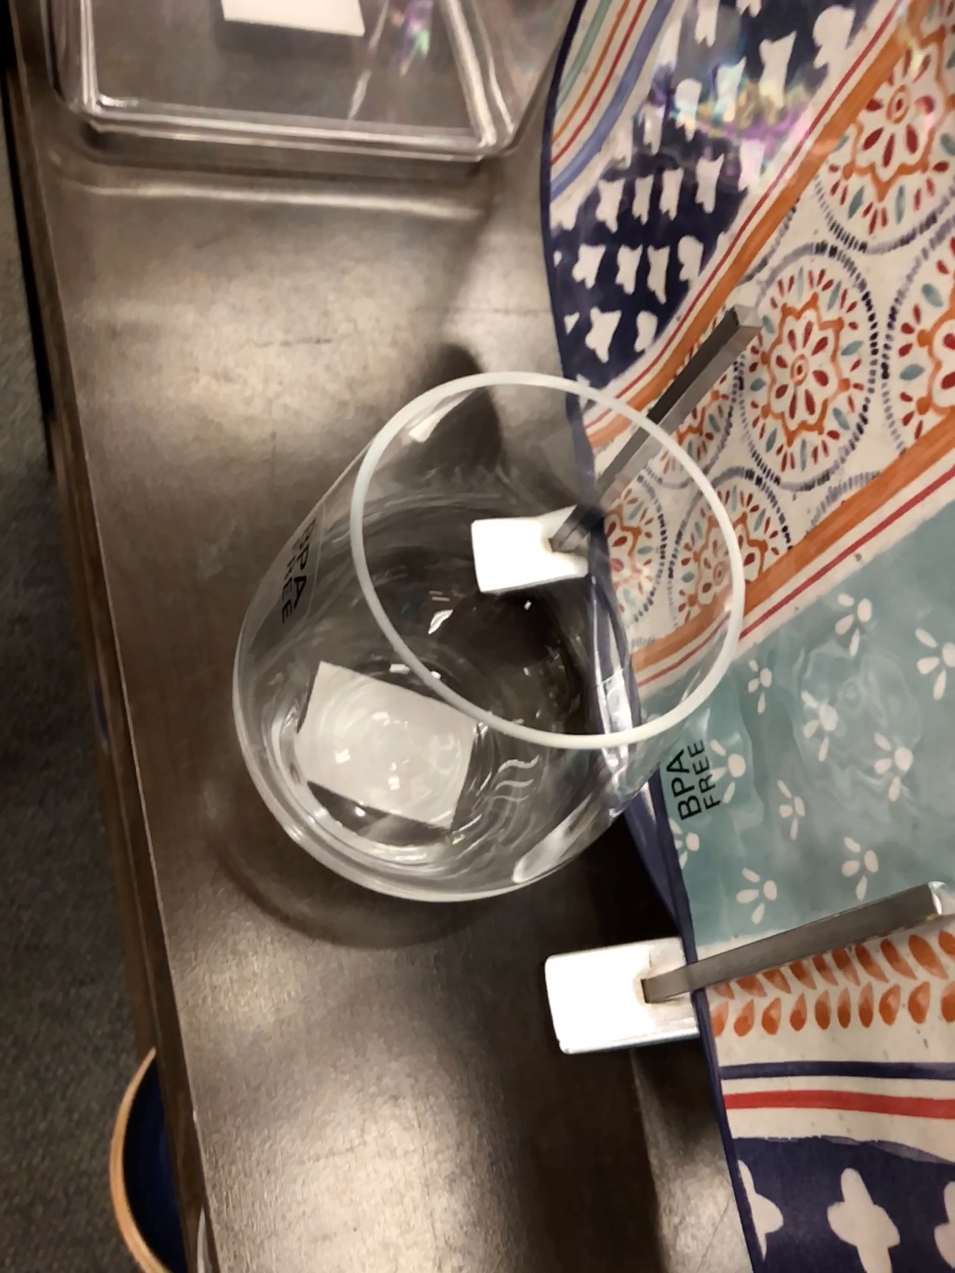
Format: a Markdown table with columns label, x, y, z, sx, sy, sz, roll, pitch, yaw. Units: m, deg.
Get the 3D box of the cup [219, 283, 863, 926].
| label | x | y | z | sx | sy | sz | roll | pitch | yaw |
| --- | --- | --- | --- | --- | --- | --- | --- | --- | --- |
| cup | 0.000 | 0.001 | 0.223 | 0.094 | 0.097 | 0.094 | 7 | 66 | -16 |
